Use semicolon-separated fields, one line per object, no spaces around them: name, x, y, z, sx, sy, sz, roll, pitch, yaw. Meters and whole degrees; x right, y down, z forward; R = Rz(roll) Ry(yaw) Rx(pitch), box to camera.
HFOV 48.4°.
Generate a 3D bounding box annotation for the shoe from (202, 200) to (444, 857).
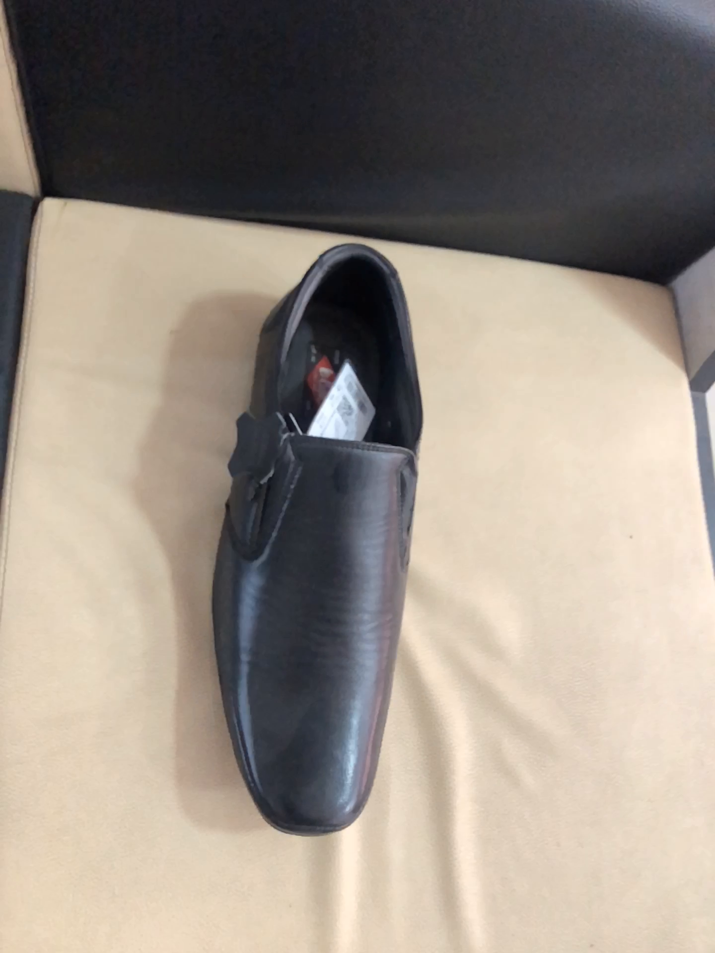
shoe;-0.016;0.023;0.431;0.100;0.090;0.320;6;73;-12
